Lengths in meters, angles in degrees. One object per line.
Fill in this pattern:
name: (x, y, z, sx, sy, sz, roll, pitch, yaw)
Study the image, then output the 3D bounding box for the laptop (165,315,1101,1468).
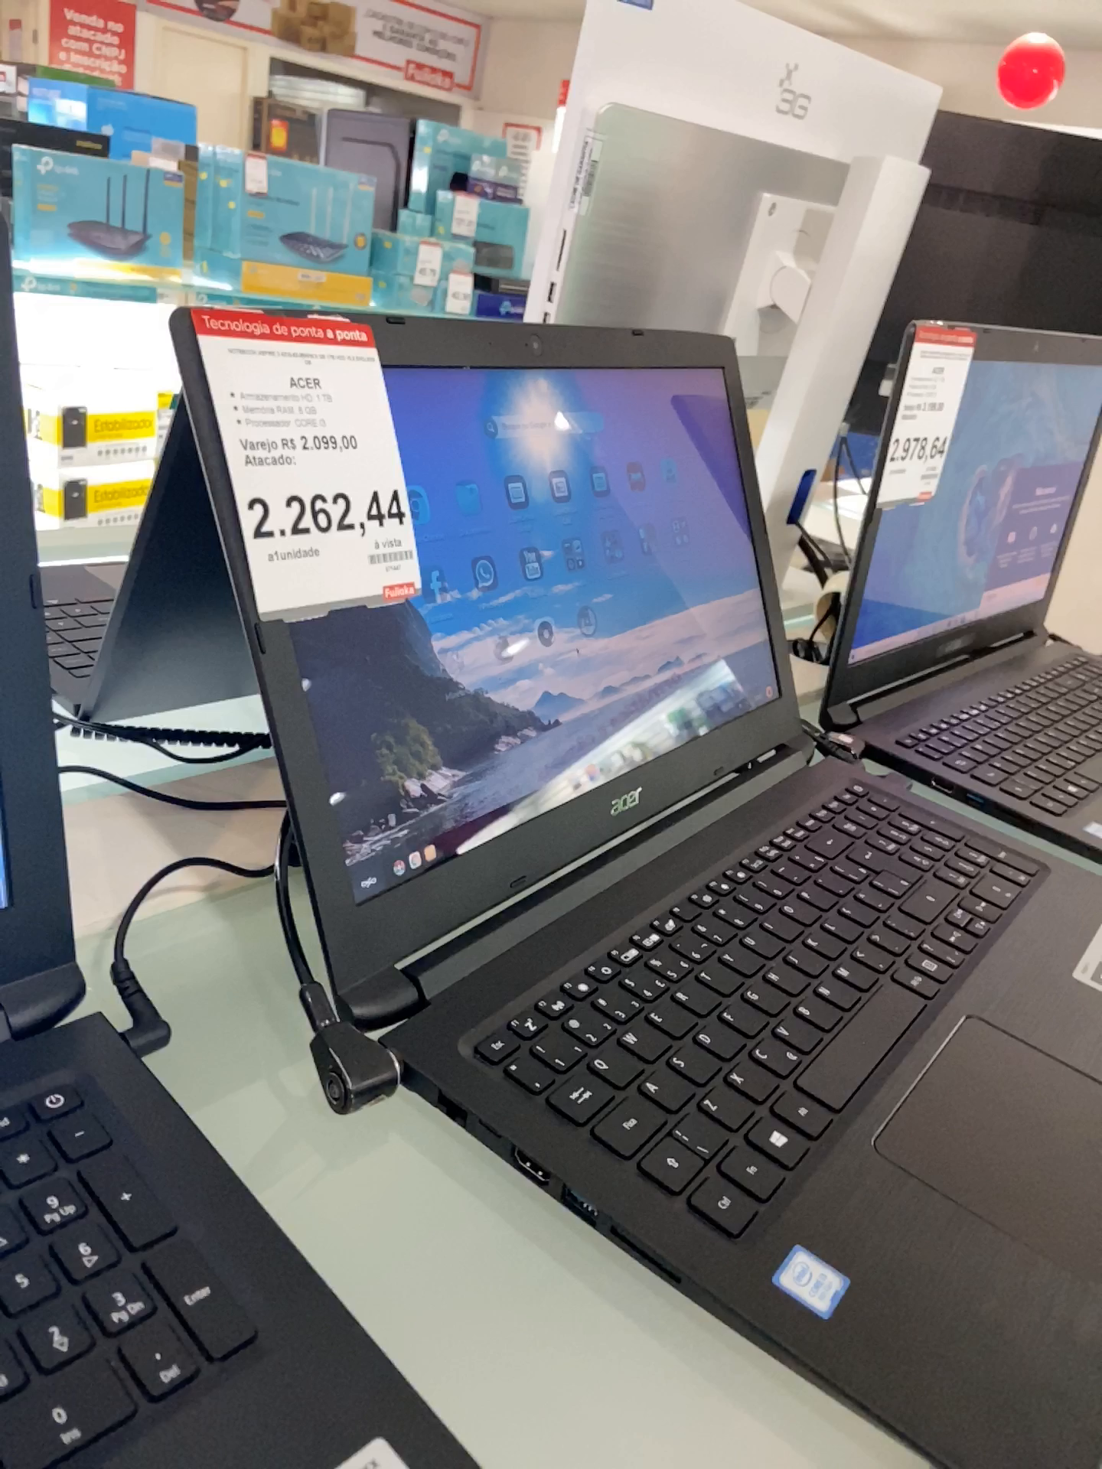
laptop: (0.121, -0.016, 0.480, 0.375, 0.226, 0.391, 25, 28, 31)
